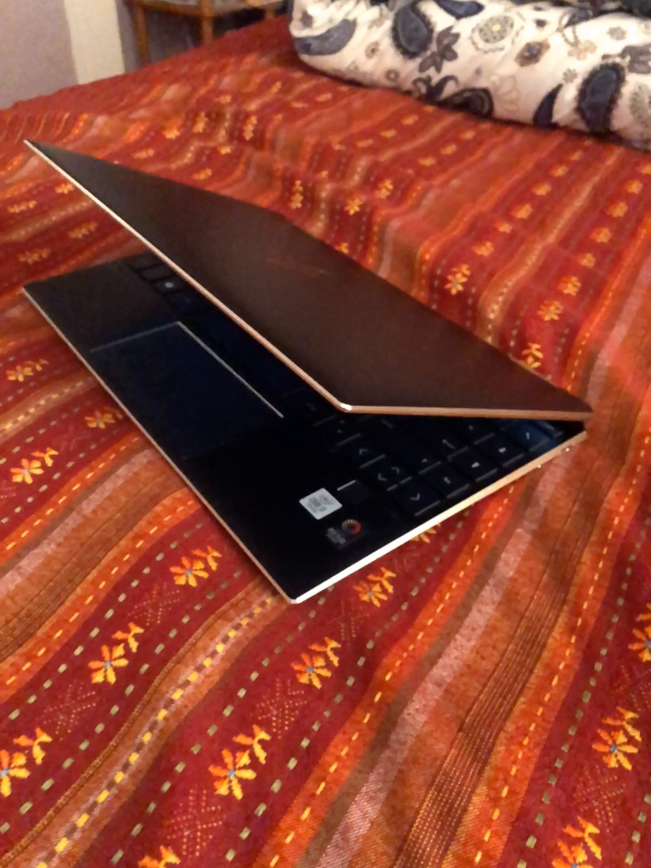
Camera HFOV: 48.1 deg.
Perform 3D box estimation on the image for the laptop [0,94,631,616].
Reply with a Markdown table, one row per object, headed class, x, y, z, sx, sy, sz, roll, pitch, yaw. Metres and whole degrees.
| class | x | y | z | sx | sy | sz | roll | pitch | yaw |
| --- | --- | --- | --- | --- | --- | --- | --- | --- | --- |
| laptop | -0.030 | -0.092 | 0.404 | 0.203 | 0.101 | 0.326 | -22 | 43 | -31 |
